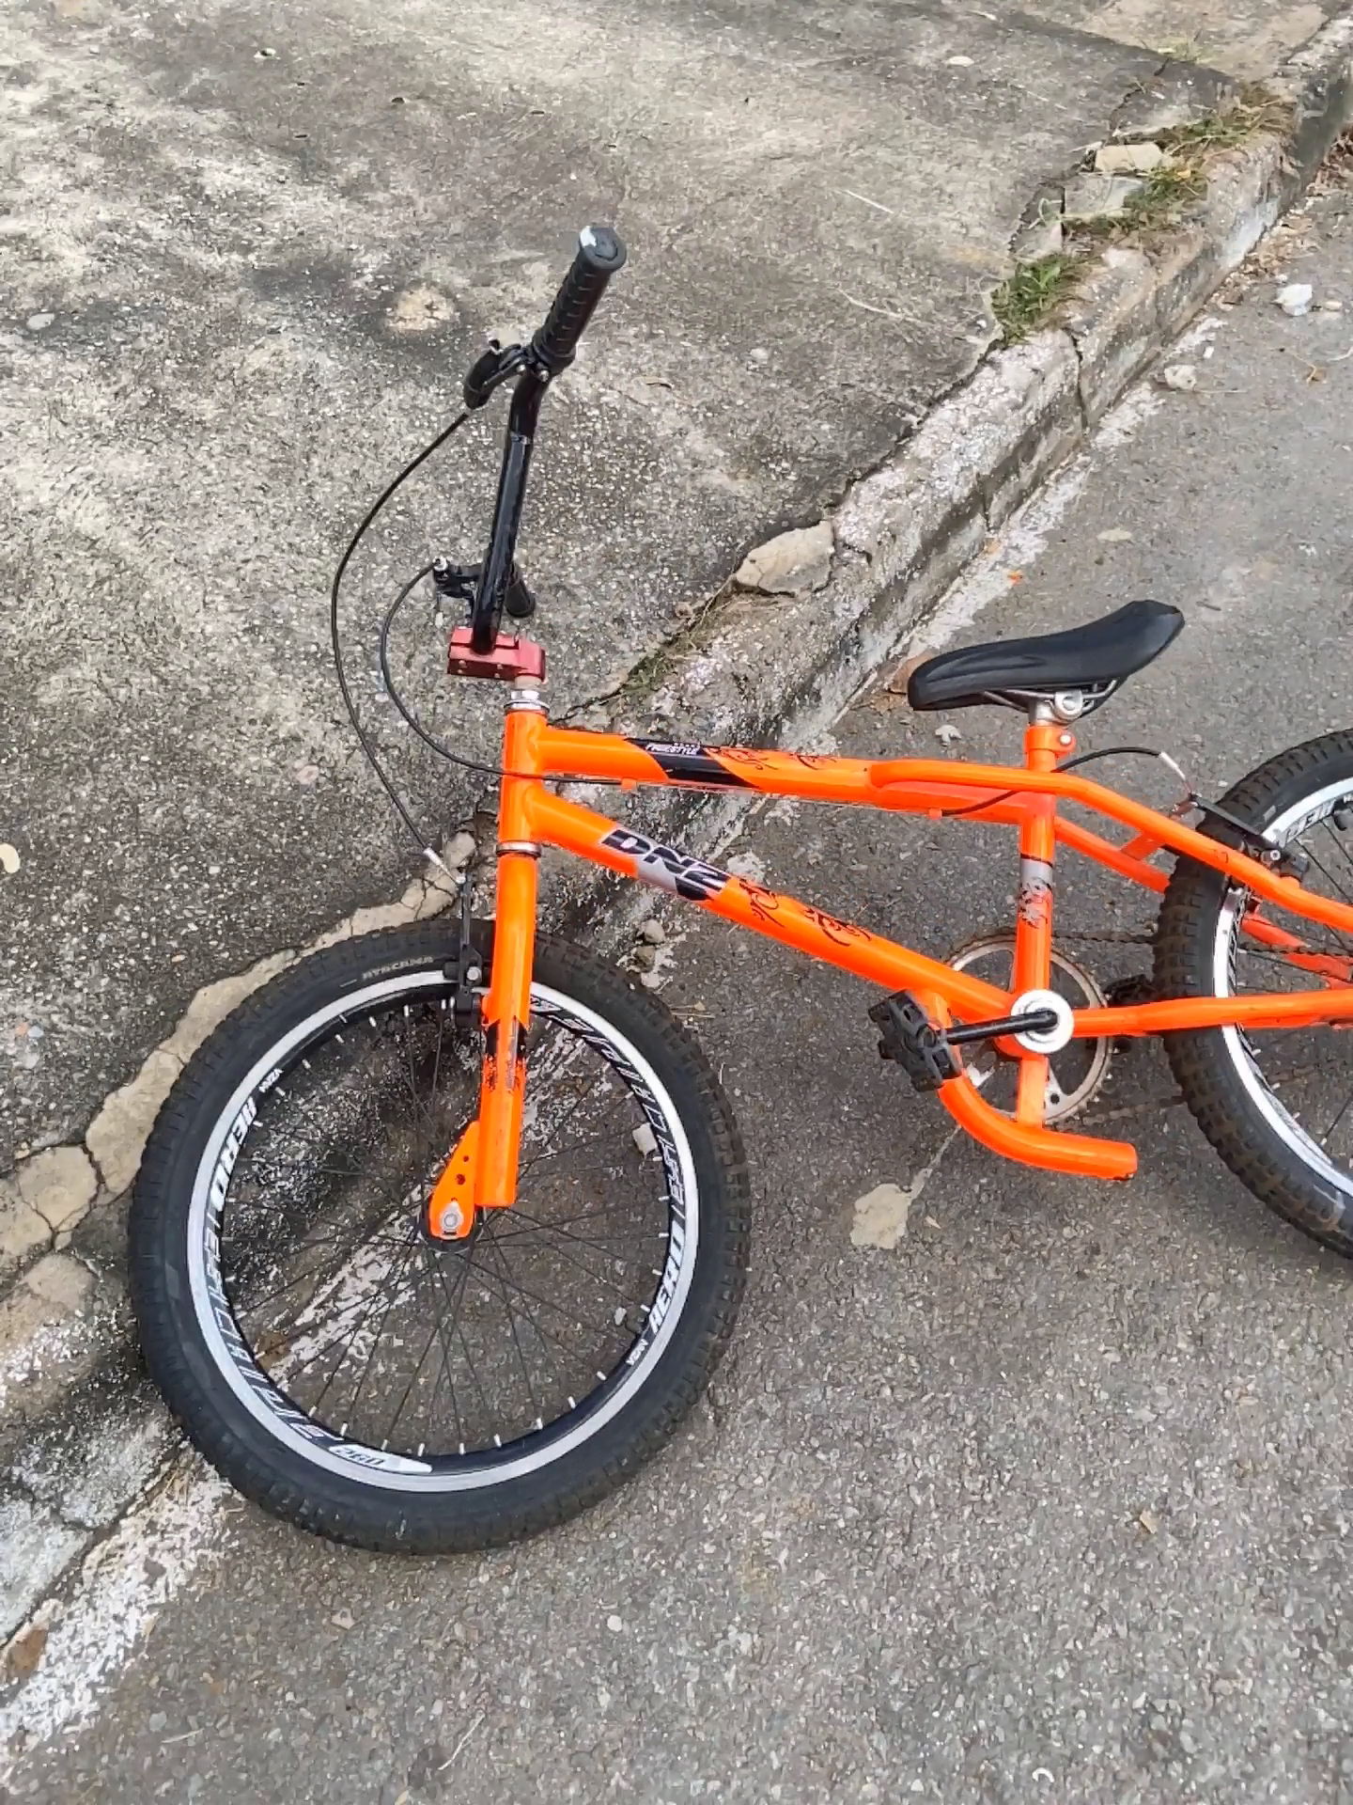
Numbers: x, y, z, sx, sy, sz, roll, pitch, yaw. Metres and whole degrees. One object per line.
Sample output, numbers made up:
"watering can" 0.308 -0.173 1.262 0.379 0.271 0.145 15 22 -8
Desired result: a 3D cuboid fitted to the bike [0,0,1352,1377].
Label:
"bike" 0.222 -0.228 1.261 1.353 0.857 0.750 -8 47 -6
